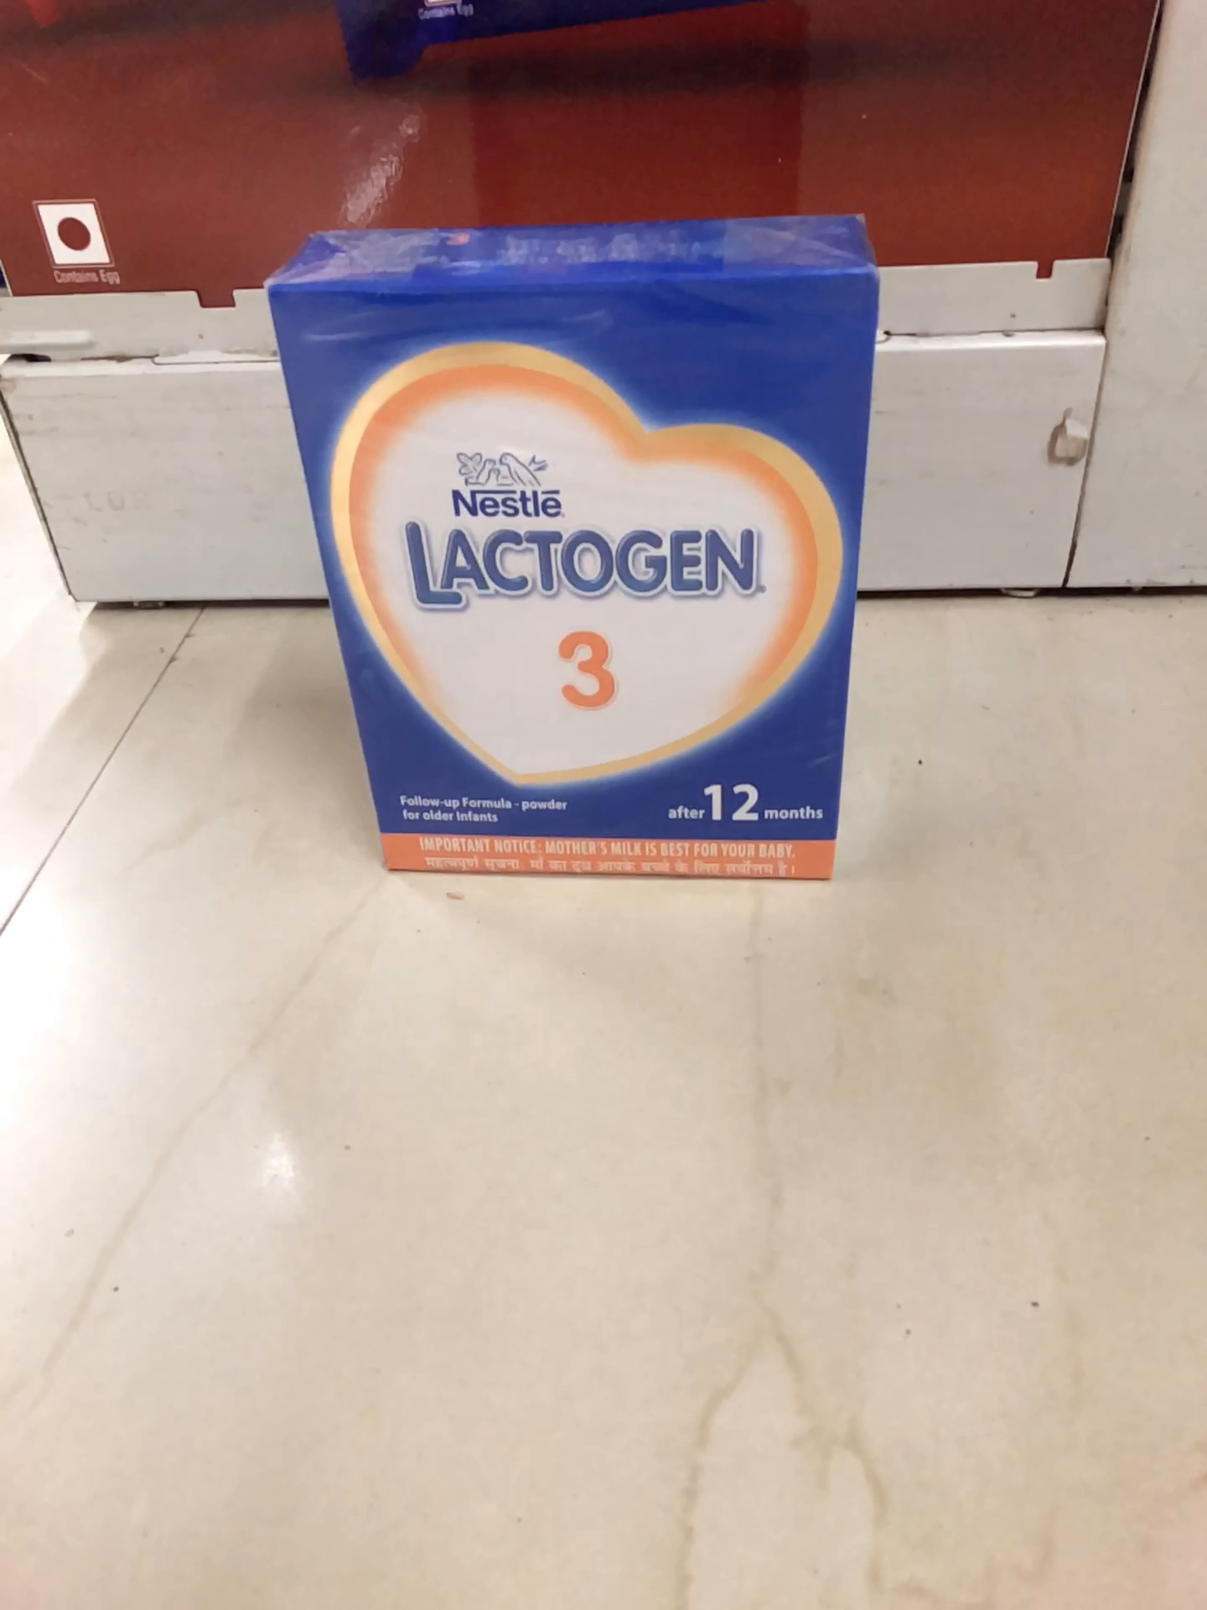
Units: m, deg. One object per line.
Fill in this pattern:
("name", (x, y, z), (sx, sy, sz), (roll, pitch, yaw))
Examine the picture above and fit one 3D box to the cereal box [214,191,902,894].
("cereal box", (-0.004, -0.067, 0.387), (0.160, 0.189, 0.060), (1, 38, 7))
